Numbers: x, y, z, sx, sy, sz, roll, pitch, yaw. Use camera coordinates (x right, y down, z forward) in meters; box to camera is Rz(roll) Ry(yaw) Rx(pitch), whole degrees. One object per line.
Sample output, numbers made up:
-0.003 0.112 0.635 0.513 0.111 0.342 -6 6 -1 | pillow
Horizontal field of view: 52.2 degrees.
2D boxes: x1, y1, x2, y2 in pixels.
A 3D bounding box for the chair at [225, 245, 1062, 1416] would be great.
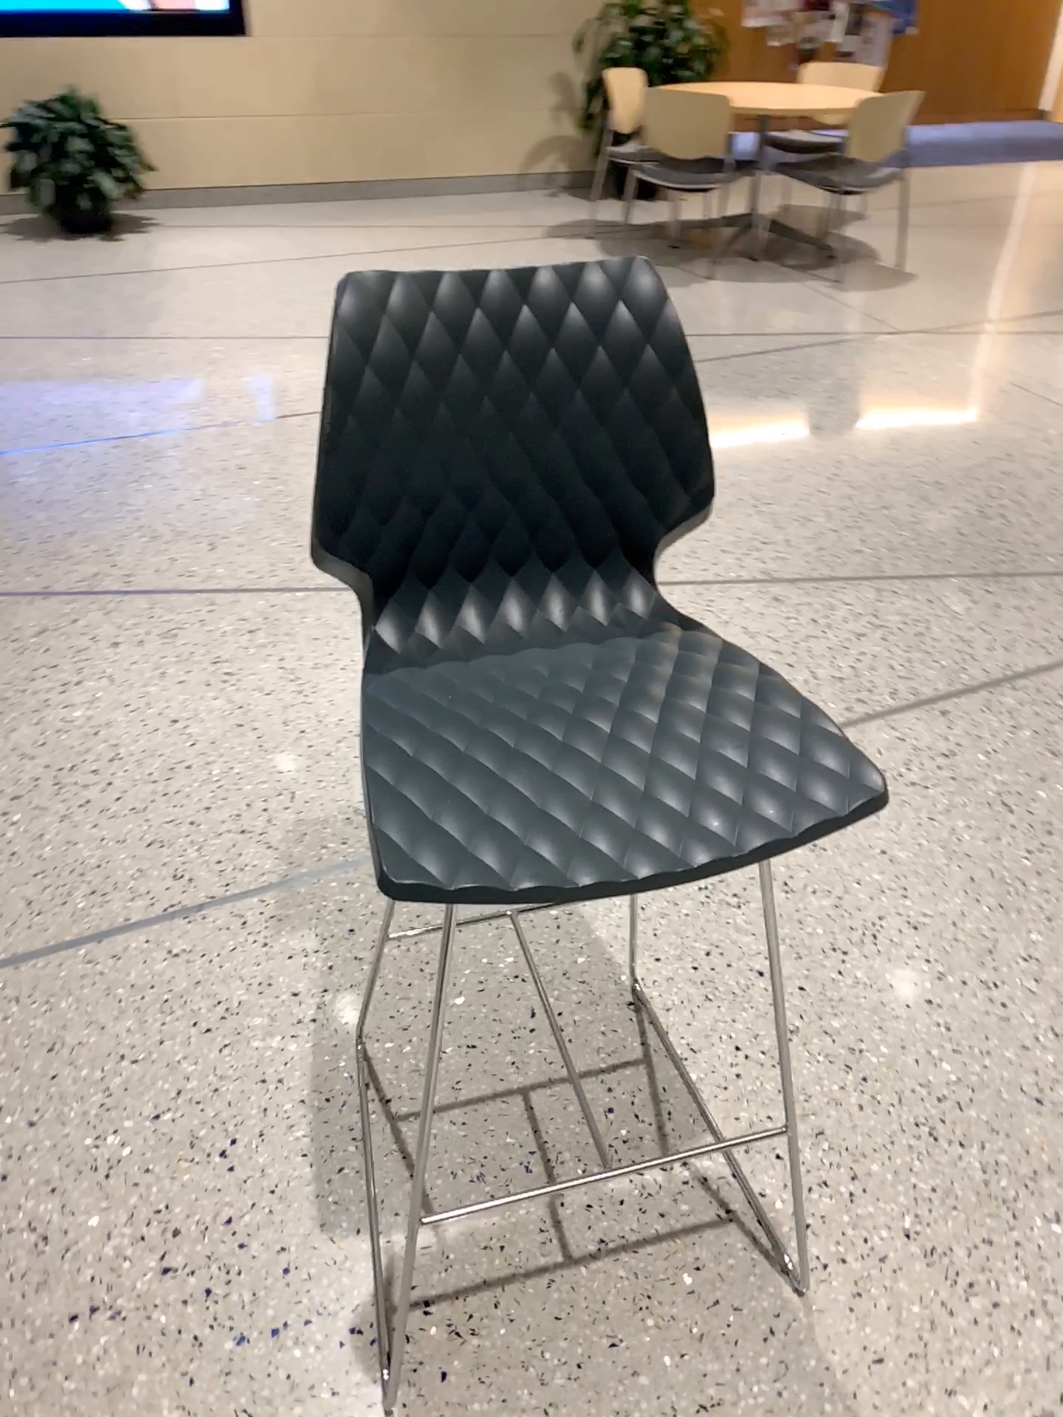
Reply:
0.041 0.134 1.086 0.534 0.995 0.536 -7 35 -12 | chair
